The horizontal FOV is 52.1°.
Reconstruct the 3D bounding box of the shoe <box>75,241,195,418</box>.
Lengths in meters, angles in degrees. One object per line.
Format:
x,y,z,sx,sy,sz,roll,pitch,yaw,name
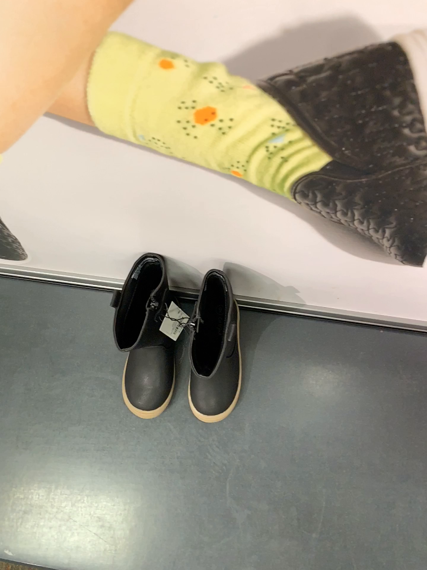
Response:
-0.089,0.071,0.587,0.080,0.200,0.190,10,75,4,shoe

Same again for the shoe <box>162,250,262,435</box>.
0.004,0.083,0.568,0.080,0.200,0.190,8,75,4,shoe
